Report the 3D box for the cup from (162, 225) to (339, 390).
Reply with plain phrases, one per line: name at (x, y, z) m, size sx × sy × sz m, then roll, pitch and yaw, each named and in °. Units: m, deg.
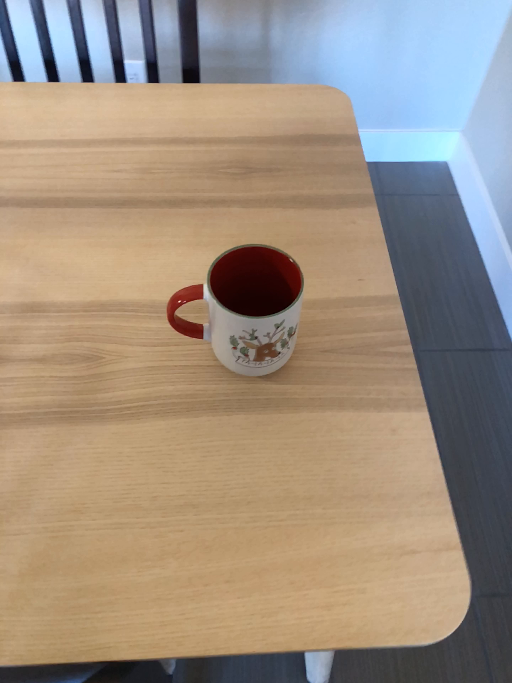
cup at (-0.010, -0.032, 0.534) m, size 0.140 × 0.100 × 0.100 m, roll -7°, pitch 55°, yaw -7°
